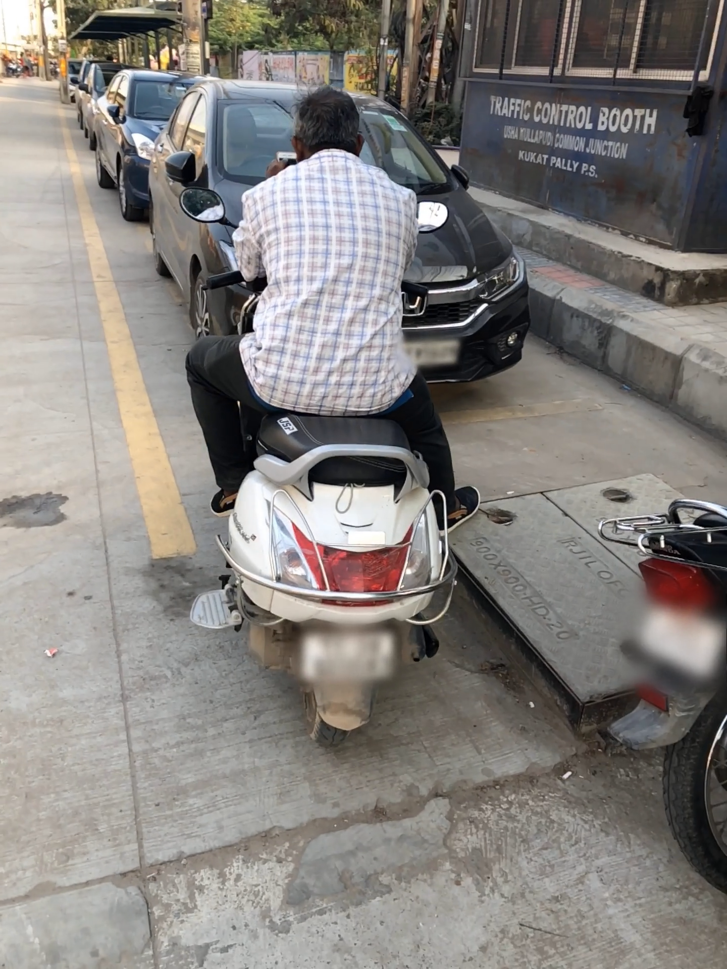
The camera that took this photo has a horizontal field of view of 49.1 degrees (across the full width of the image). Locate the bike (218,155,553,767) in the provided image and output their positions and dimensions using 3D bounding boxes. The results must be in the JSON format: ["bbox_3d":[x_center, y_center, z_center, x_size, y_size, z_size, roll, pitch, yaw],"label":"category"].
[{"bbox_3d":[-0.062,-0.249,2.314,0.640,0.858,1.609,-1,35,-8],"label":"bike"}]
